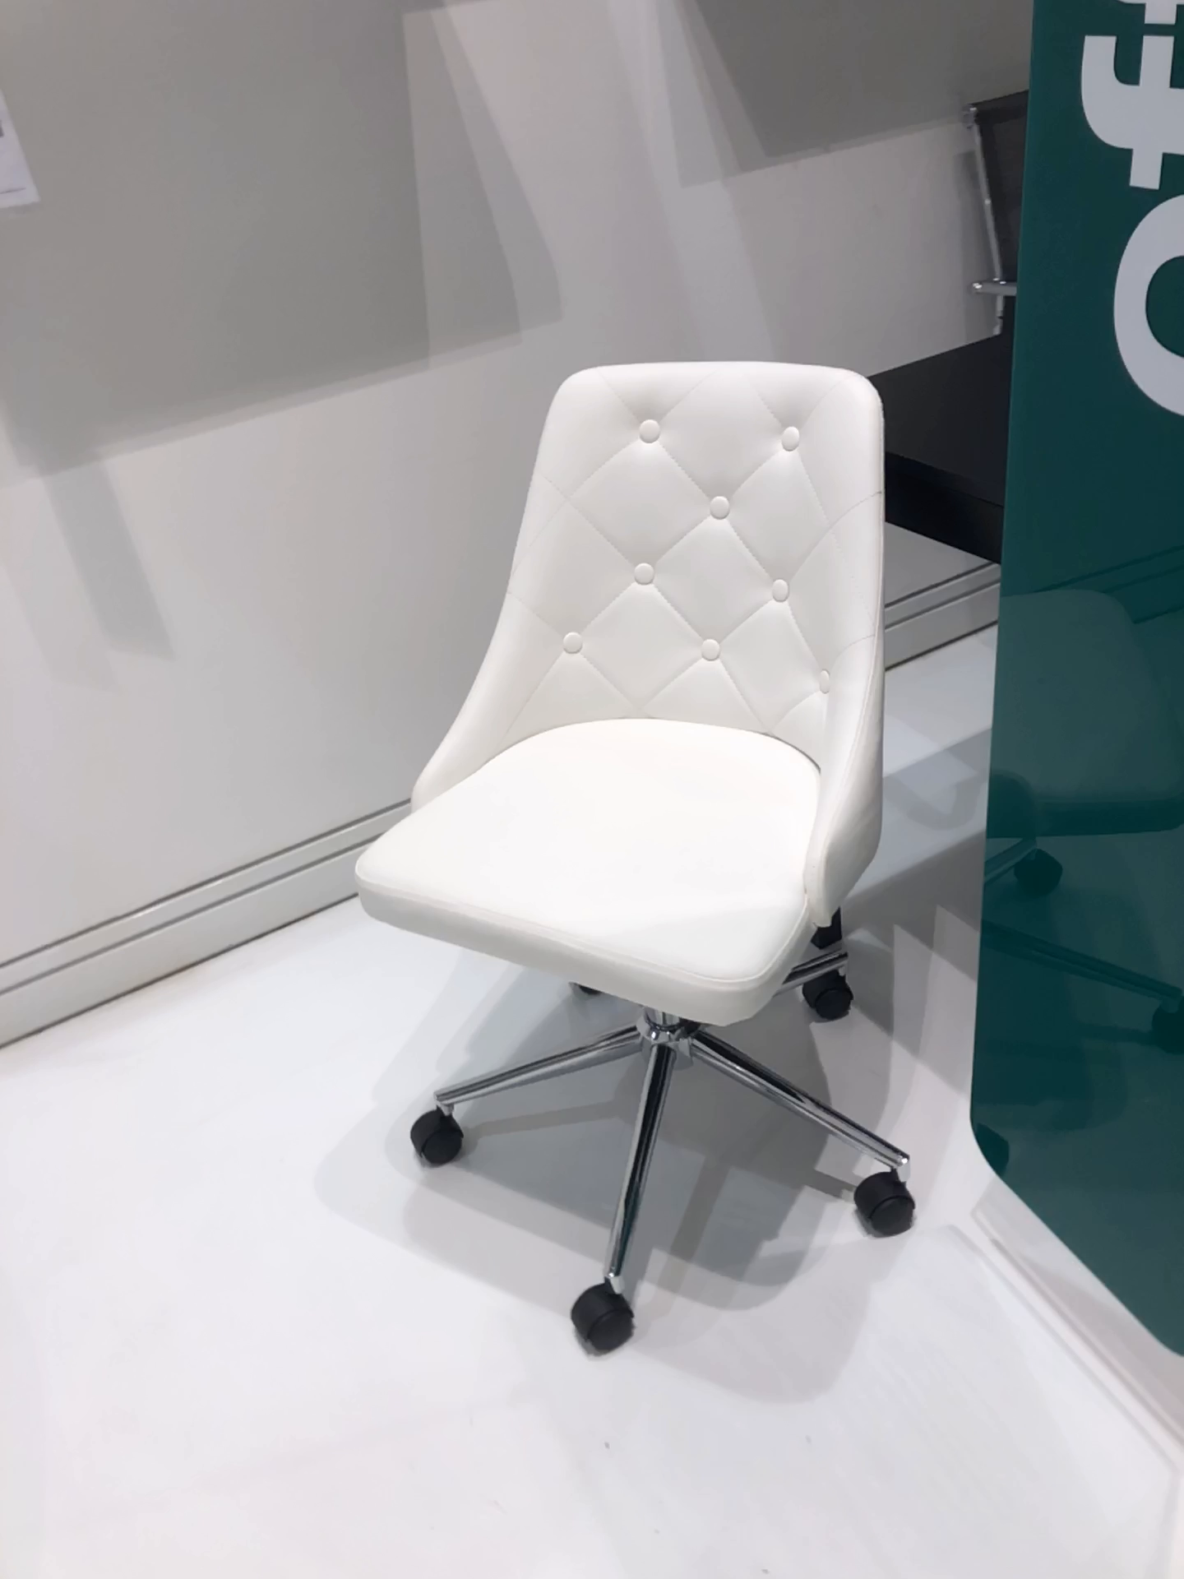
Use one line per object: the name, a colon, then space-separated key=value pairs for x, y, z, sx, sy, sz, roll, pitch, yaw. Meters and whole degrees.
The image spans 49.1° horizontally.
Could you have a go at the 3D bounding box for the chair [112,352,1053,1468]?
chair: x=0.071 y=0.066 z=1.386 sx=0.601 sy=0.854 sz=0.643 roll=13 pitch=38 yaw=31
